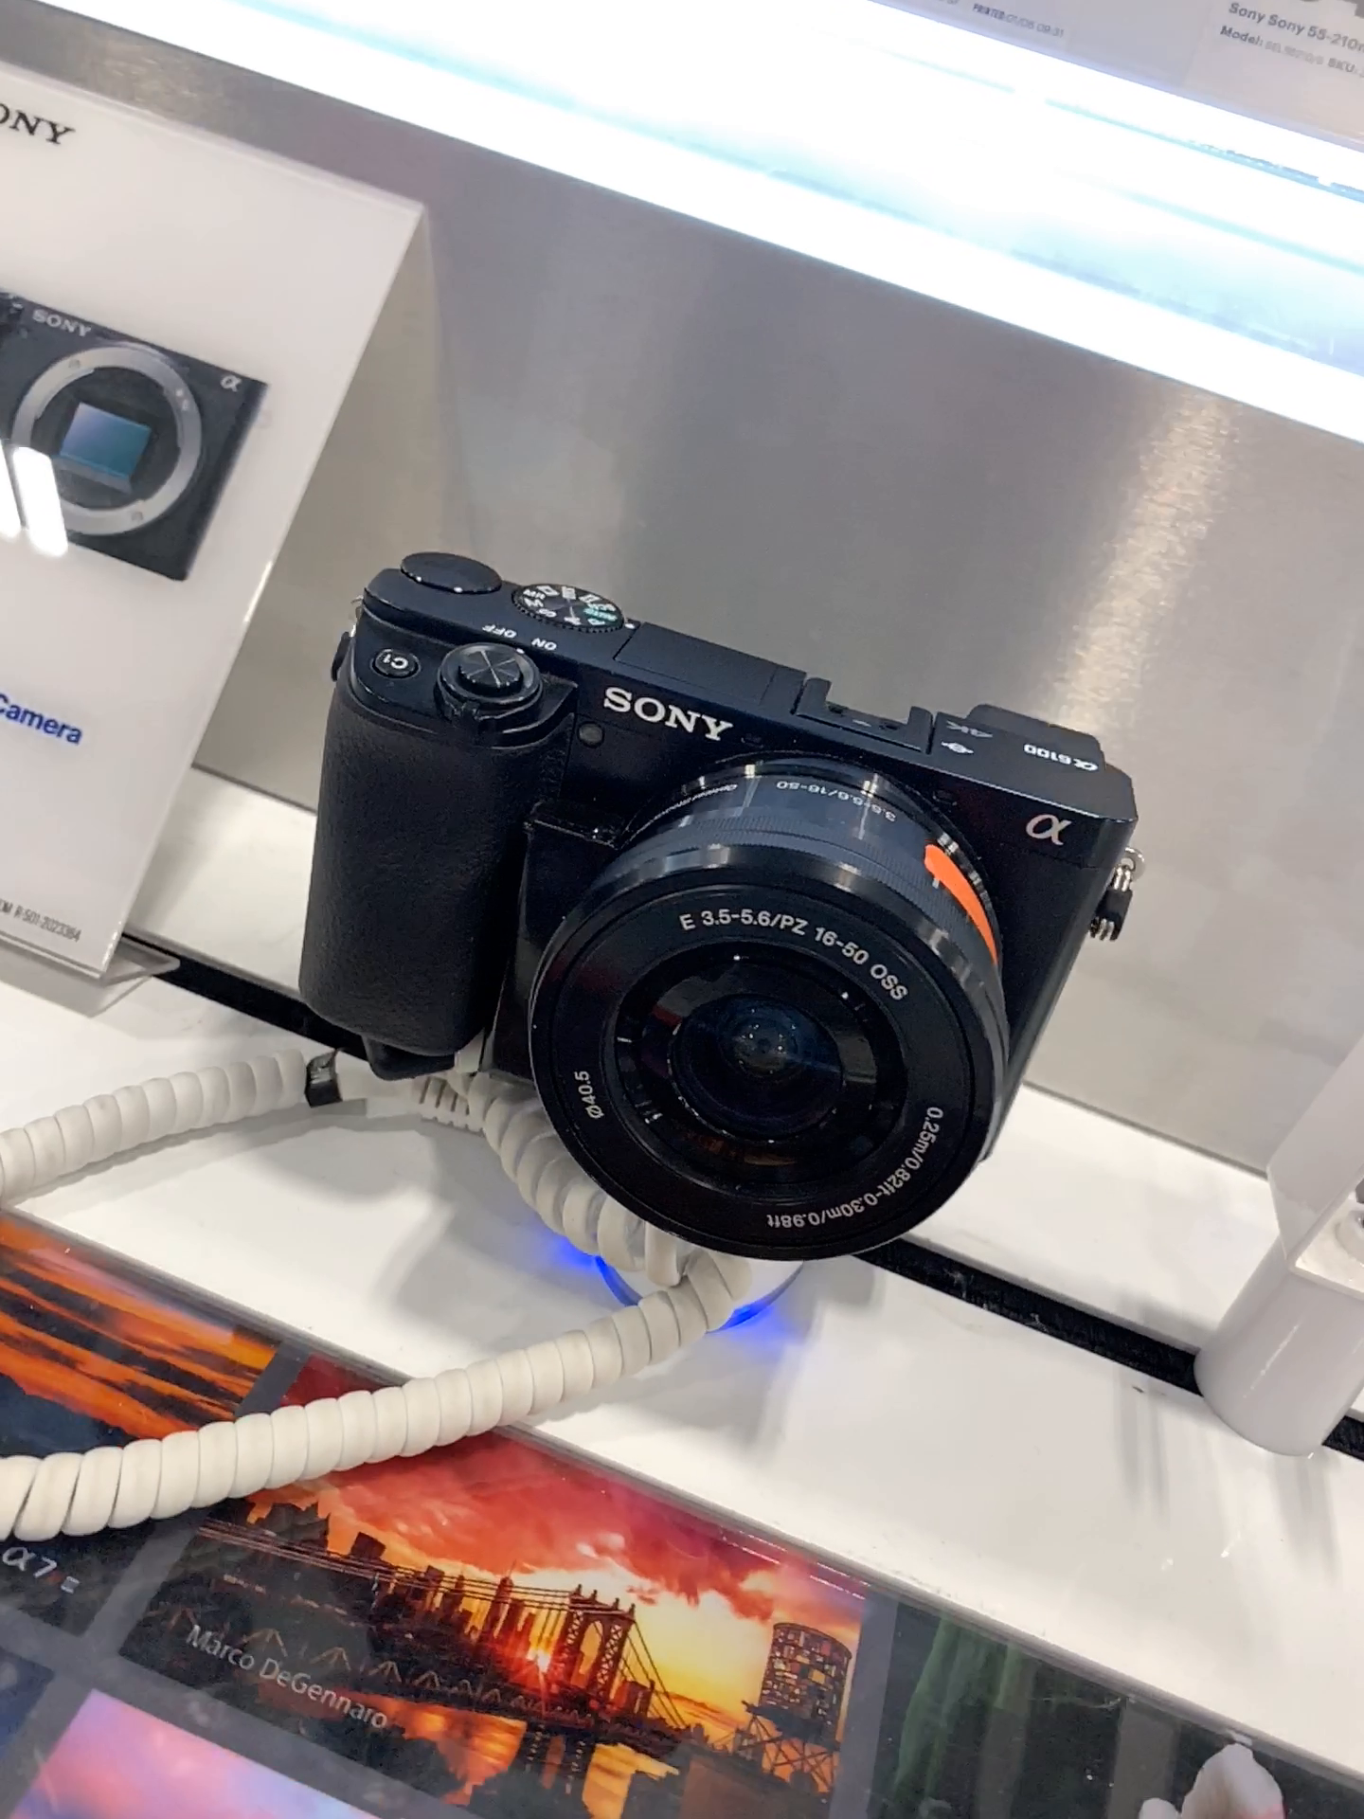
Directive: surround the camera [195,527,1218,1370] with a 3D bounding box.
[{"bbox_3d":[0.002,0.003,0.216,0.120,0.070,0.070,17,32,-2],"label":"camera"}]
